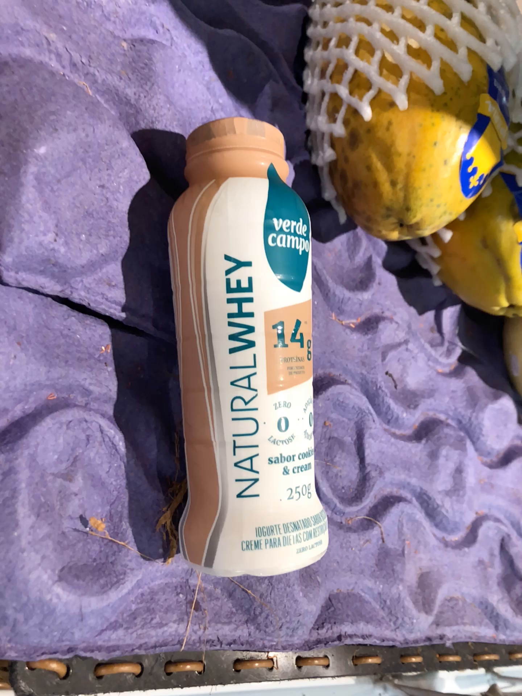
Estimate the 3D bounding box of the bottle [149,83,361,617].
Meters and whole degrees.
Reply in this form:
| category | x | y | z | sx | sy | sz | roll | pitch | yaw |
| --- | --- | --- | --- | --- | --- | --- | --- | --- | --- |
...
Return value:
| category | x | y | z | sx | sy | sz | roll | pitch | yaw |
| --- | --- | --- | --- | --- | --- | --- | --- | --- | --- |
| bottle | -0.001 | 0.000 | 0.210 | 0.060 | 0.040 | 0.160 | 1 | 85 | -52 |
